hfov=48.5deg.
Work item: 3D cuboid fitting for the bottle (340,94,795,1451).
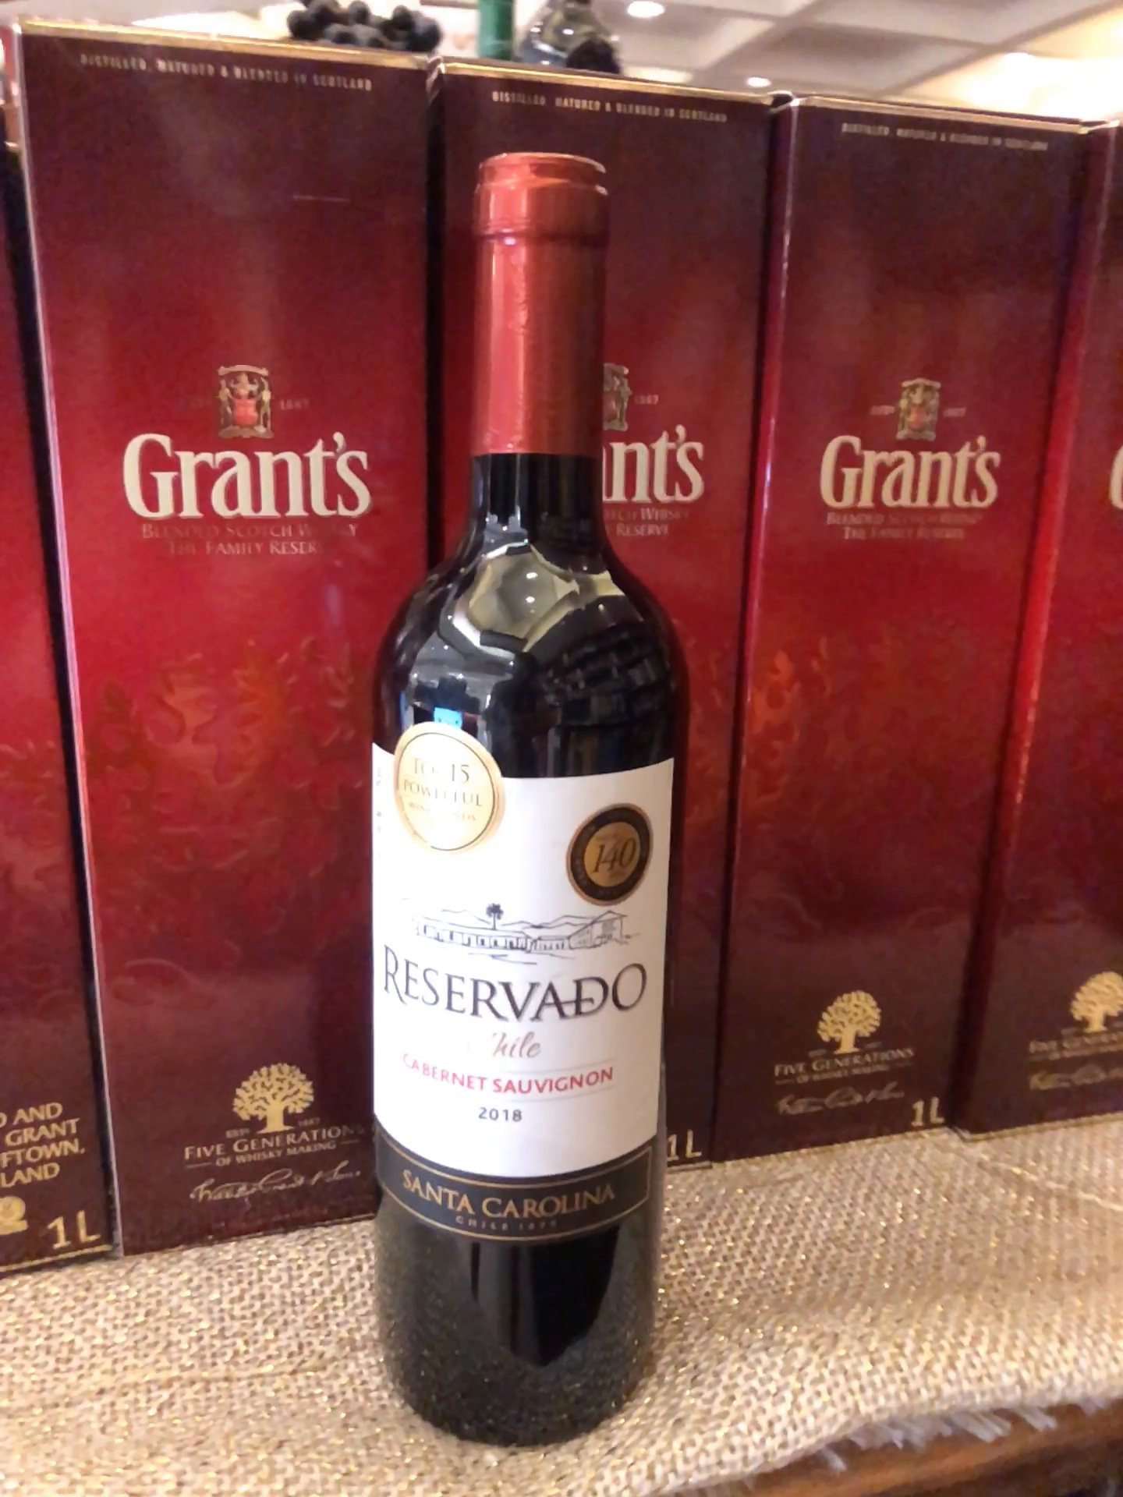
[{"bbox_3d":[-0.005,0.016,0.291,0.080,0.288,0.070,2,15,-1],"label":"bottle"}]
